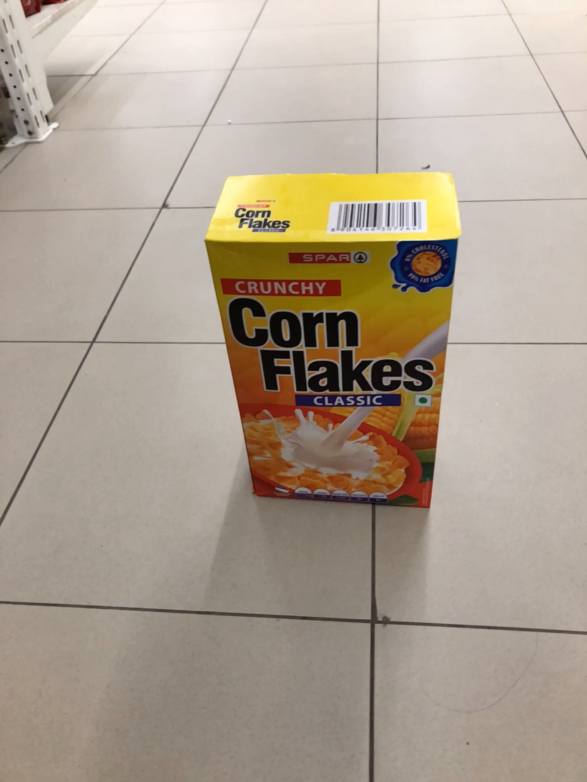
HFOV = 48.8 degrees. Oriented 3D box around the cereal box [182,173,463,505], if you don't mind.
[{"bbox_3d":[0.036,-0.032,0.594,0.200,0.298,0.101,1,43,8],"label":"cereal box"}]
